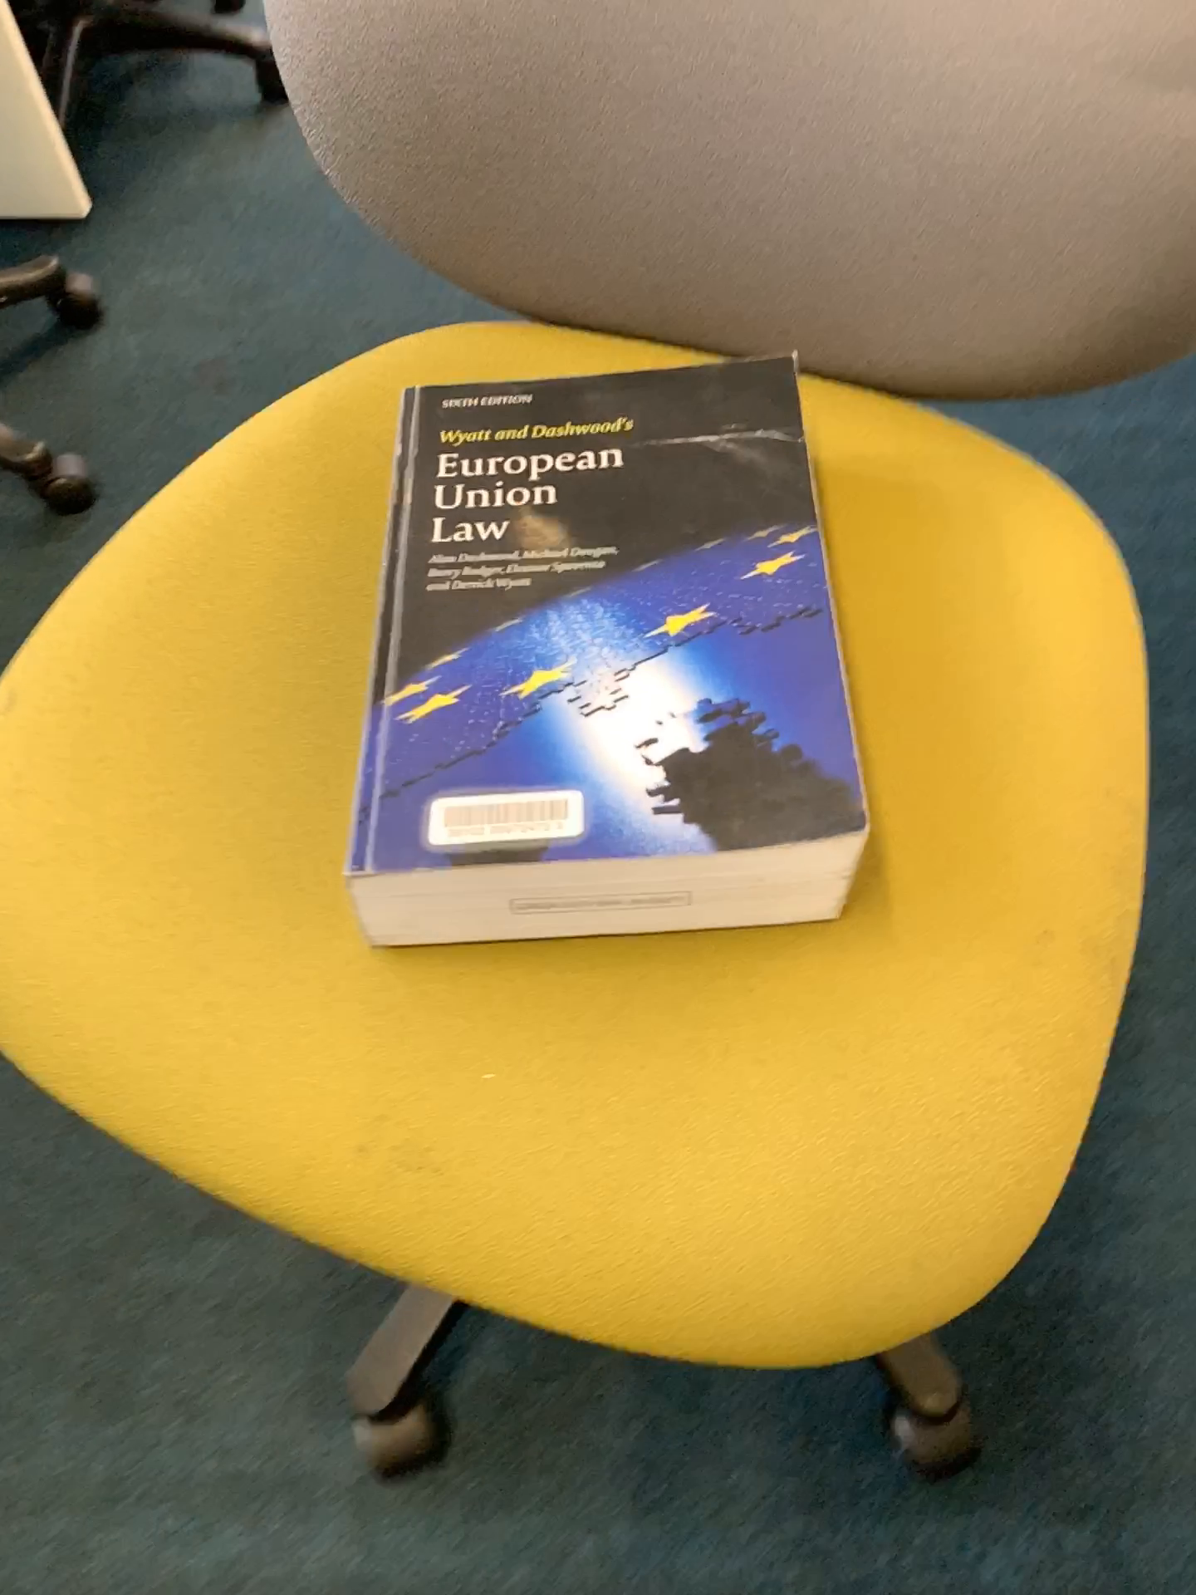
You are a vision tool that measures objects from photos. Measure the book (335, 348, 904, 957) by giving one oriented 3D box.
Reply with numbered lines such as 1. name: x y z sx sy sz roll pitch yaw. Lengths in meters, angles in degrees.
1. book: 0.006 -0.067 0.482 0.180 0.060 0.251 -3 56 3
